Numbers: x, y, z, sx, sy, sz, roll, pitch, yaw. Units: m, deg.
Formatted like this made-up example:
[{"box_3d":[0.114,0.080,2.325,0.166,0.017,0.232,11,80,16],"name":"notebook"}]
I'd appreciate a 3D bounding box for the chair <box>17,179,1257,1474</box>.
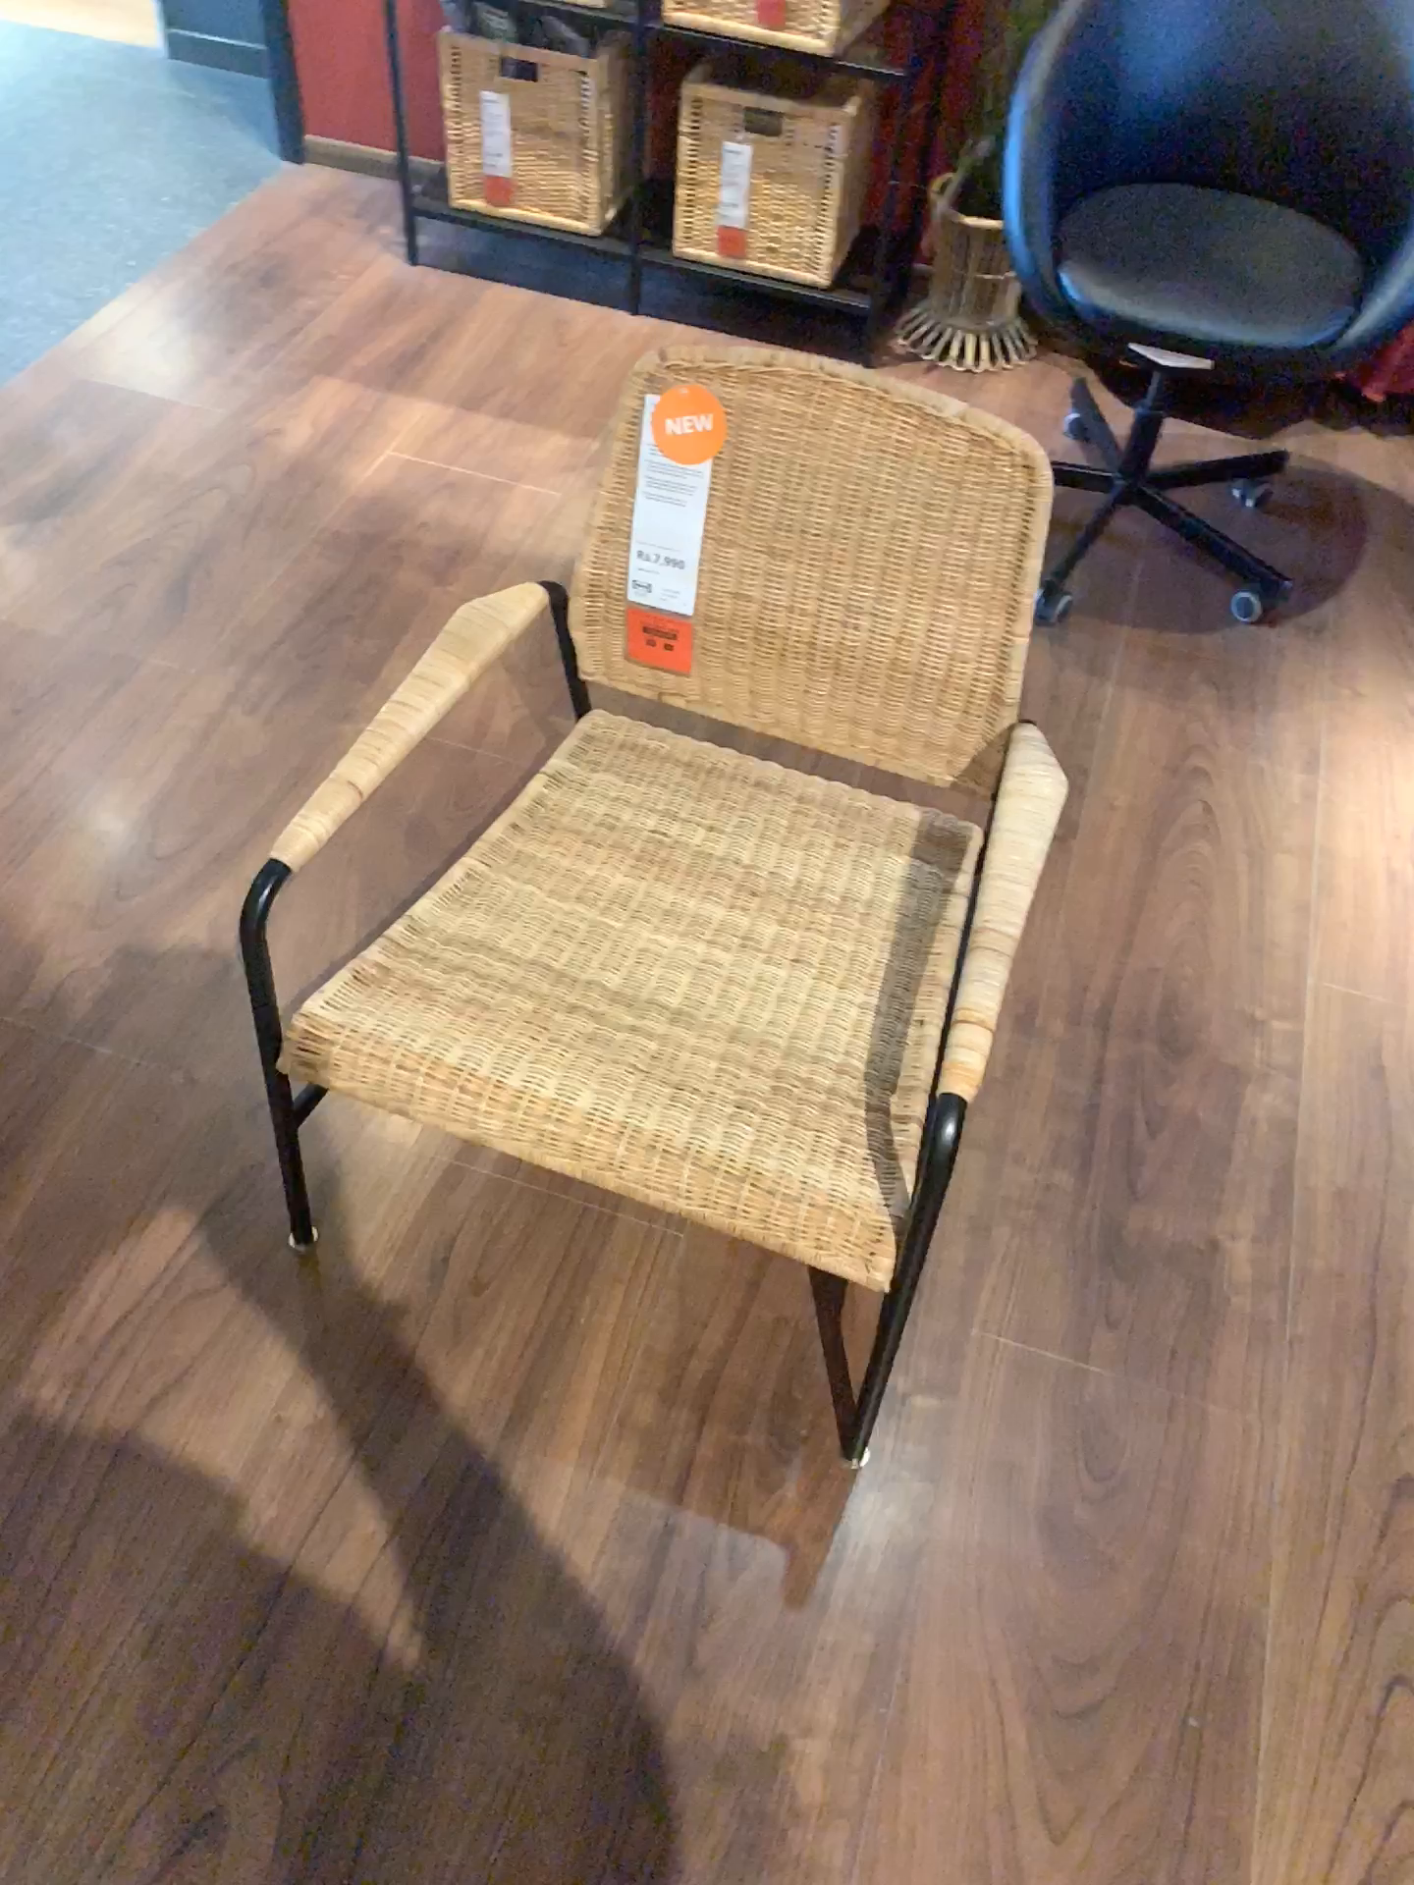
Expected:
[{"box_3d":[0.001,-0.122,1.393,0.710,0.758,0.792,18,51,10],"name":"chair"}]
